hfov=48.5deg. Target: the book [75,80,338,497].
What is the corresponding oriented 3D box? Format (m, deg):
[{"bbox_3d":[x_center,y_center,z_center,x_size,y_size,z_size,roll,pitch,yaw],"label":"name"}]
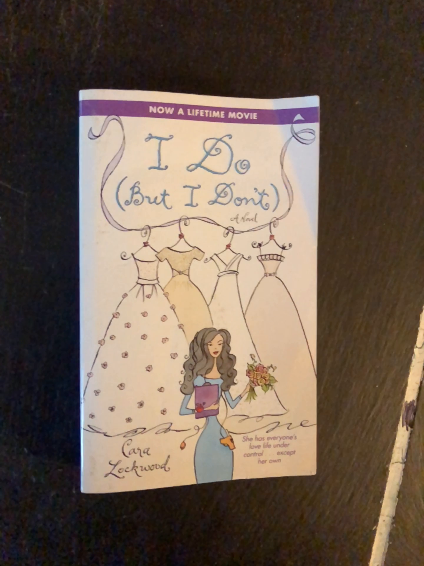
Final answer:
[{"bbox_3d":[-0.002,0.002,0.212,0.110,0.033,0.164,0,91,-11],"label":"book"}]
